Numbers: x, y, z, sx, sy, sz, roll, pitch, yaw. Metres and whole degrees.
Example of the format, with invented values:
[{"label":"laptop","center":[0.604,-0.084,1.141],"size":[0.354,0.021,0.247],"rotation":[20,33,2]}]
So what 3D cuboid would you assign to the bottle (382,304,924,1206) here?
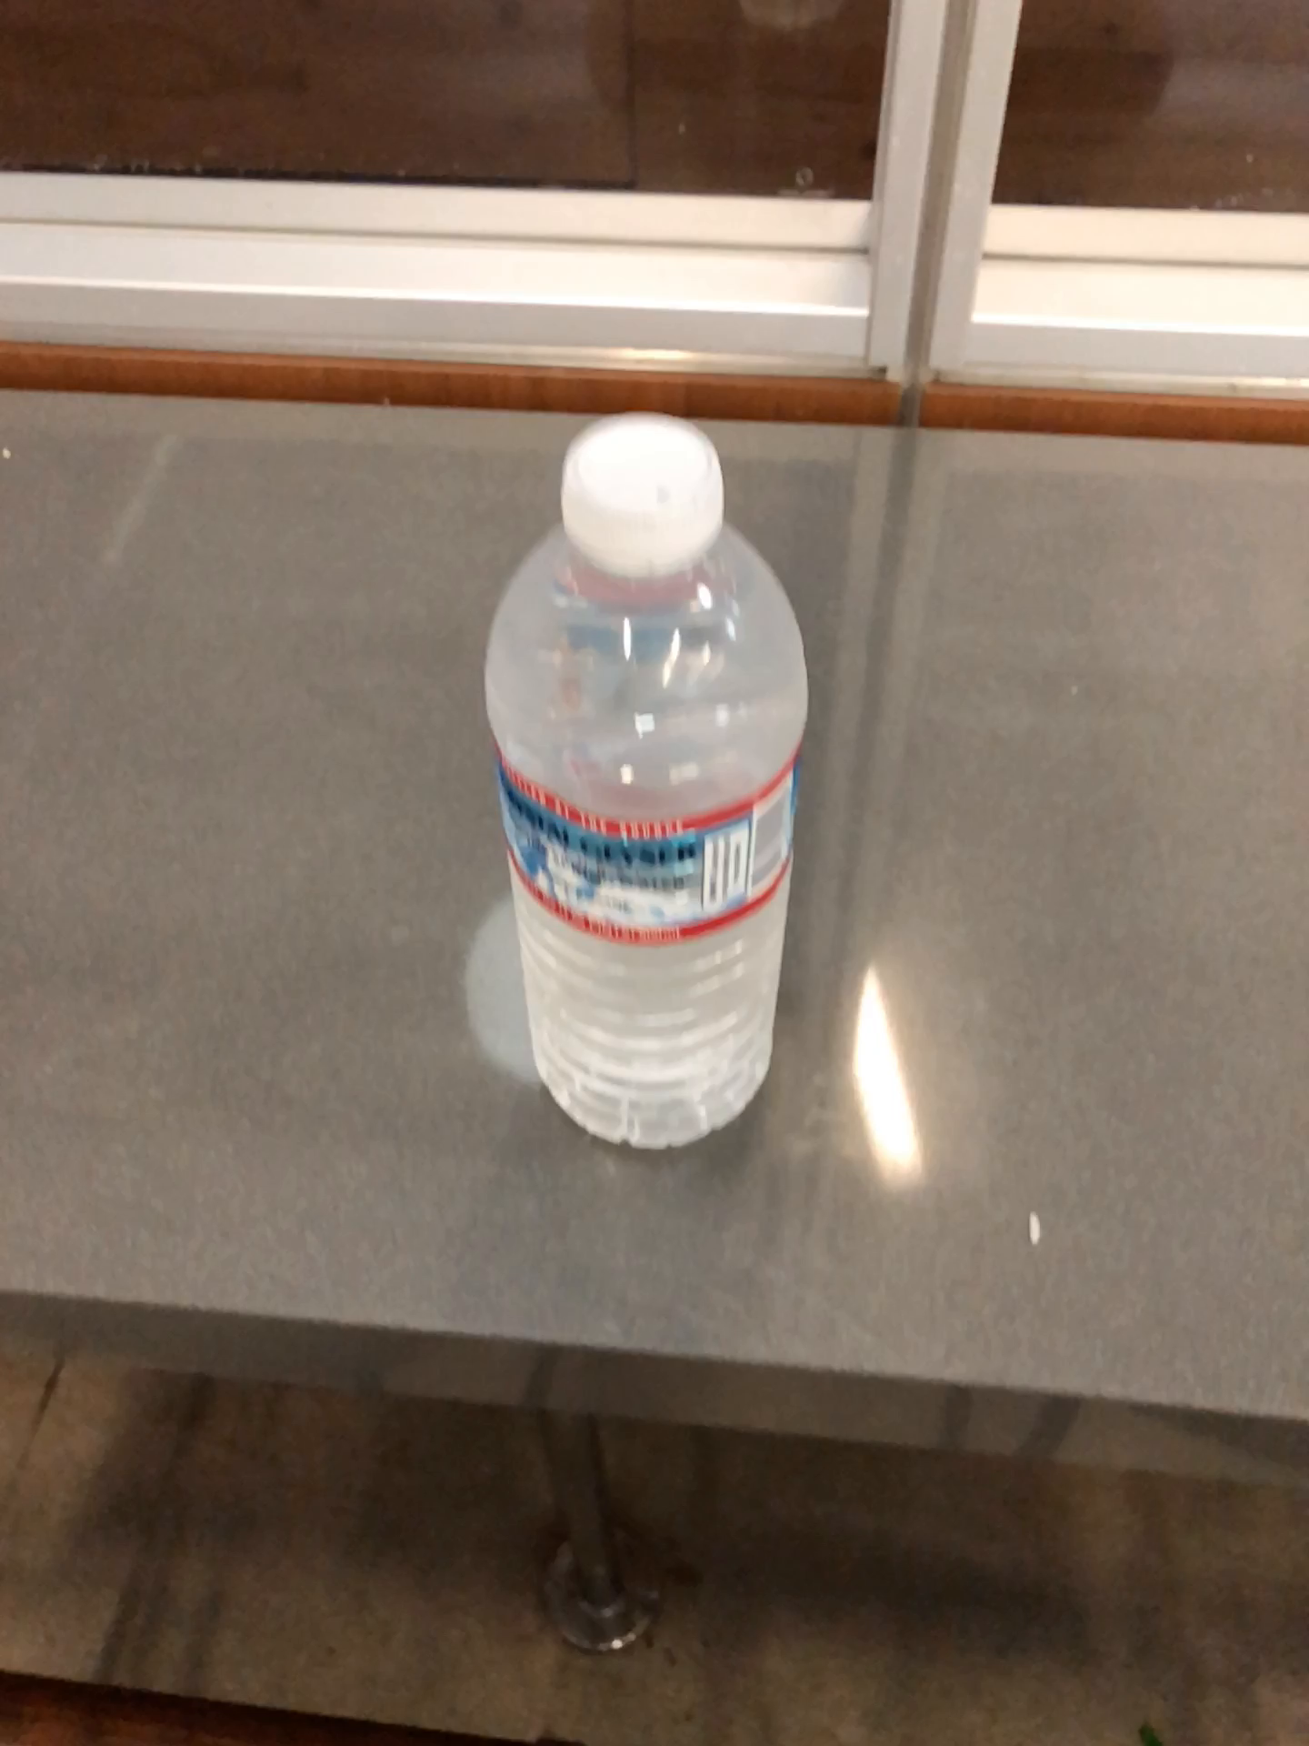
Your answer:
[{"label":"bottle","center":[0.004,-0.013,0.323],"size":[0.070,0.190,0.070],"rotation":[-1,50,1]}]
